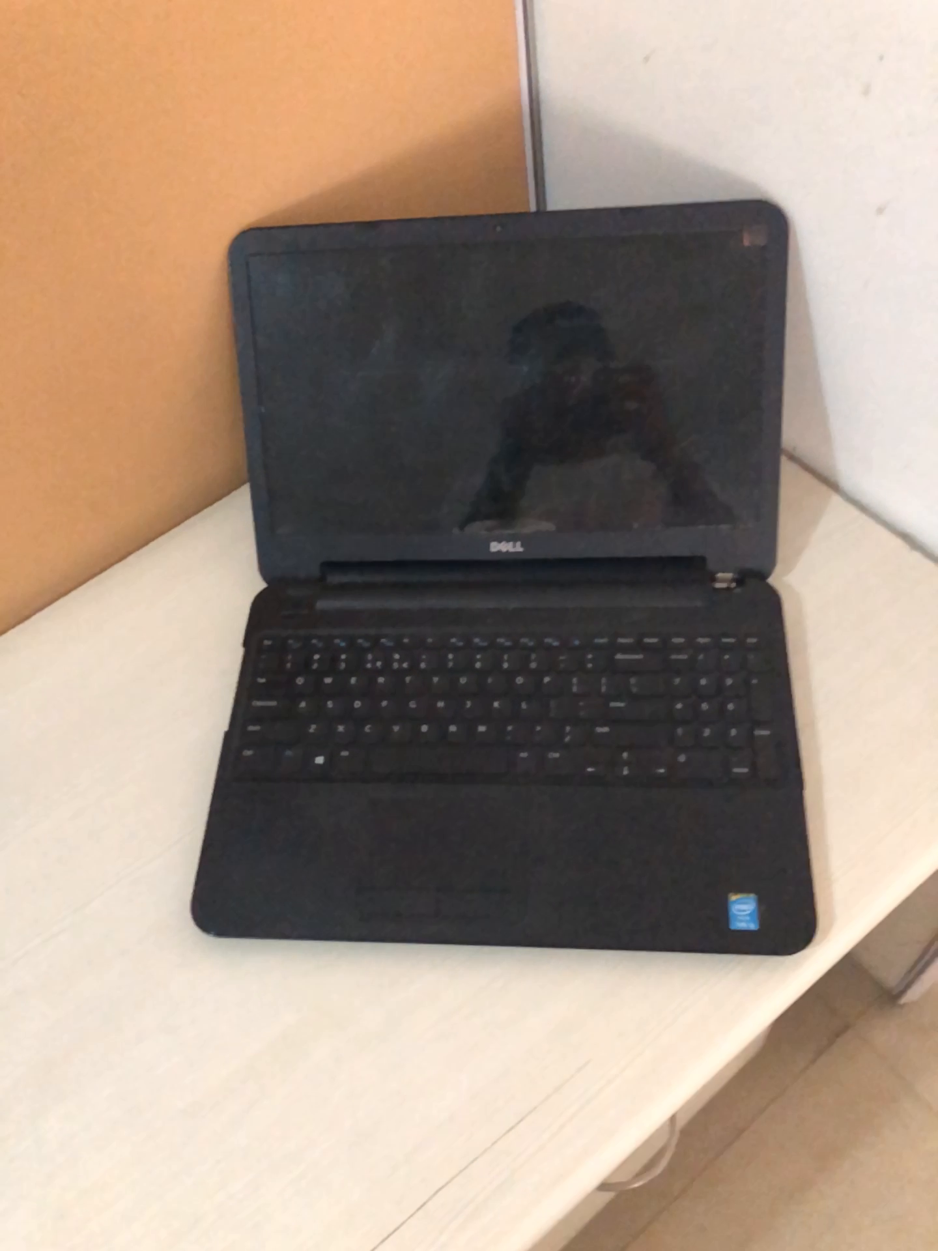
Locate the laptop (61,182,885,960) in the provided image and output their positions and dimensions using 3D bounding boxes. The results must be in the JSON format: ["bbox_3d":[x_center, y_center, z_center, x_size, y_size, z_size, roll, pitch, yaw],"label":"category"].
[{"bbox_3d":[0.015,-0.047,0.618,0.352,0.175,0.415,0,58,8],"label":"laptop"}]
